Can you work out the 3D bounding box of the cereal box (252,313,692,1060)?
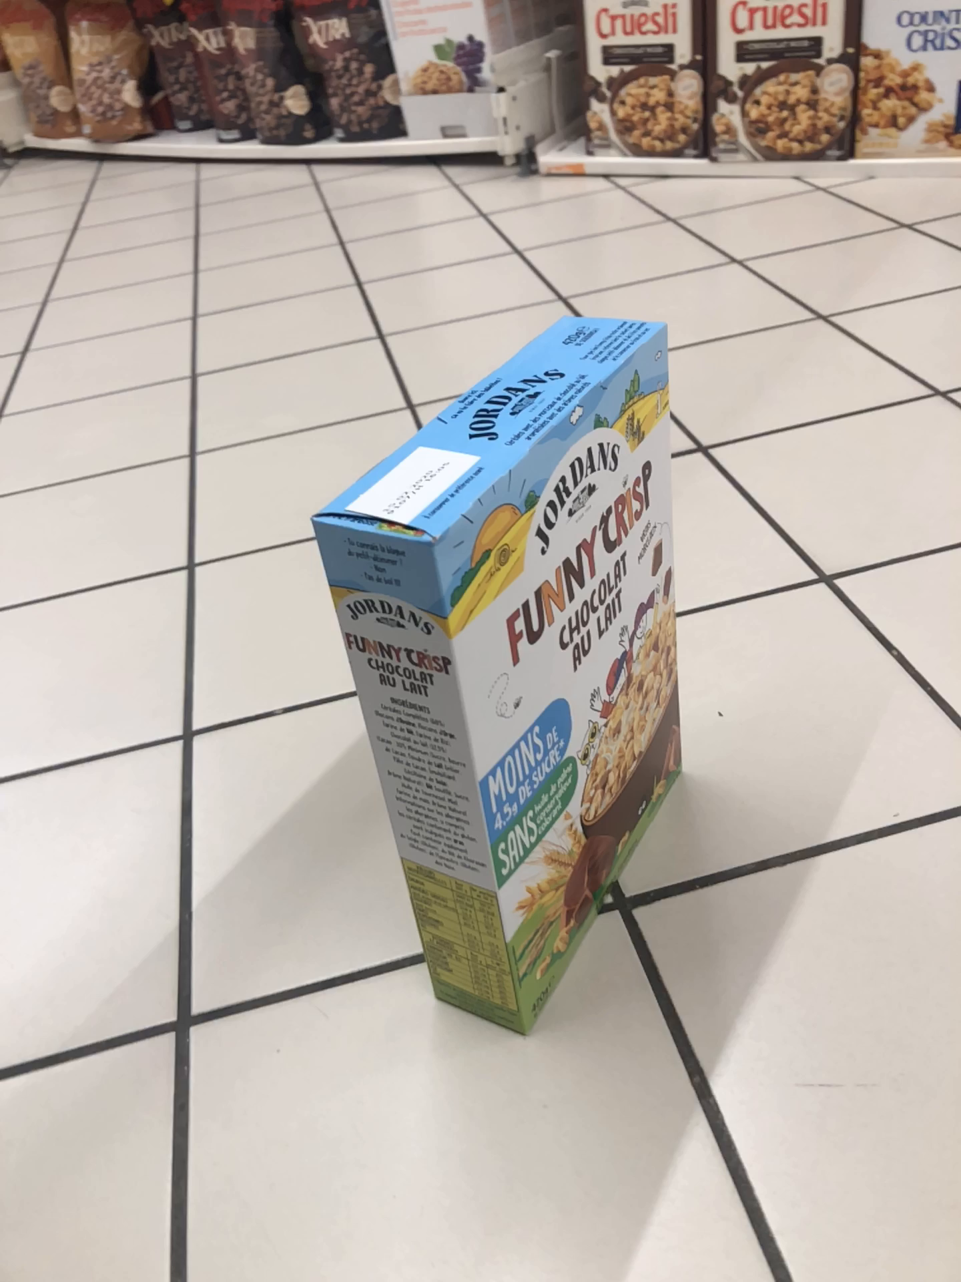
[{"bbox_3d":[0.020,0.015,0.423,0.060,0.229,0.181,13,41,29],"label":"cereal box"}]
